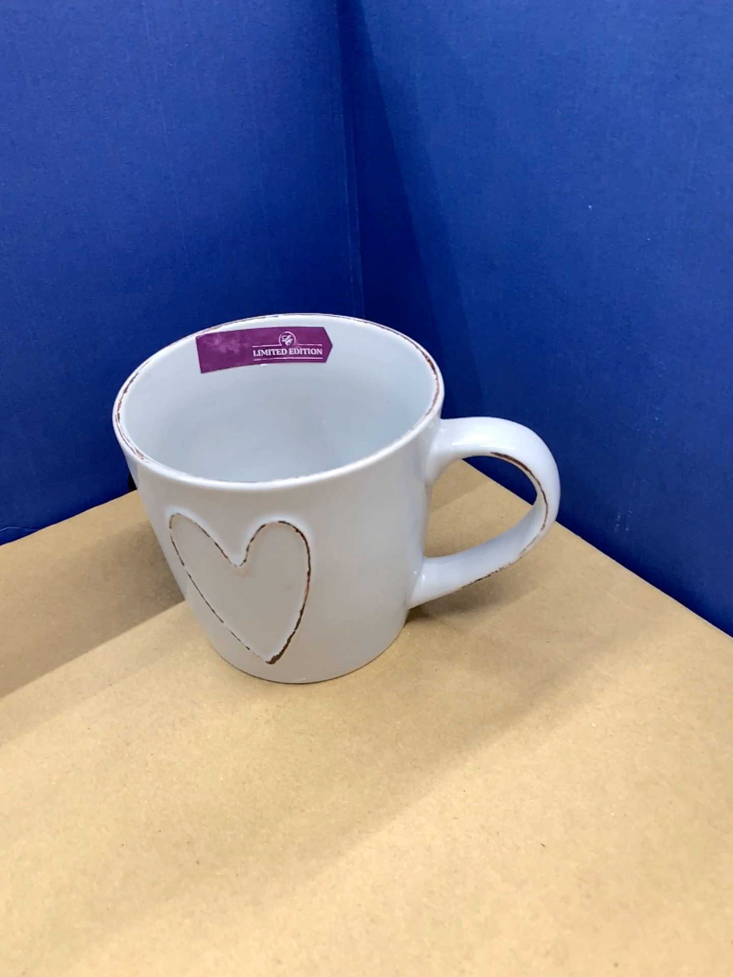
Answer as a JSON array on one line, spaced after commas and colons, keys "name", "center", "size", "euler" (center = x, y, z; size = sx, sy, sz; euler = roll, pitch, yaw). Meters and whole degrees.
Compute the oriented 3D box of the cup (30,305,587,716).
[{"name": "cup", "center": [-0.011, 0.004, 0.229], "size": [0.124, 0.085, 0.091], "euler": [-1, 35, 3]}]
